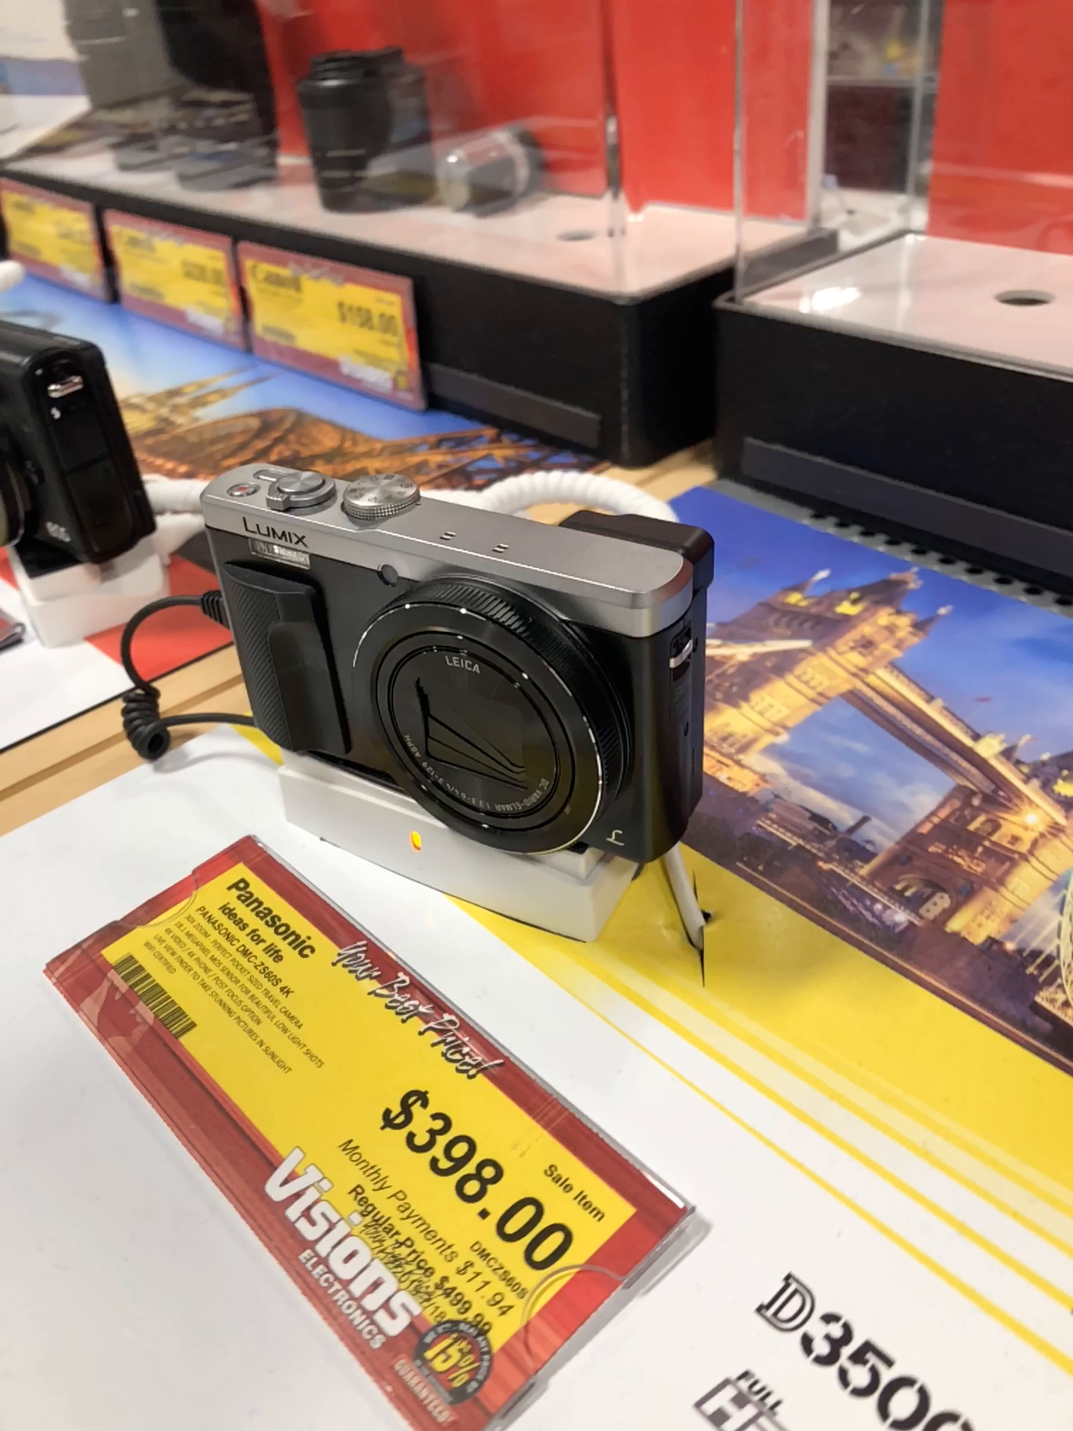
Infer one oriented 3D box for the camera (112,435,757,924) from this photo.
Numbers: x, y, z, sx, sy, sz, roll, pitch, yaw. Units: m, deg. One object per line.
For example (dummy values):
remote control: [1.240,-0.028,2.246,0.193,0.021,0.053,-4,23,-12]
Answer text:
camera: [-0.021,-0.012,0.238,0.120,0.060,0.040,16,40,29]
